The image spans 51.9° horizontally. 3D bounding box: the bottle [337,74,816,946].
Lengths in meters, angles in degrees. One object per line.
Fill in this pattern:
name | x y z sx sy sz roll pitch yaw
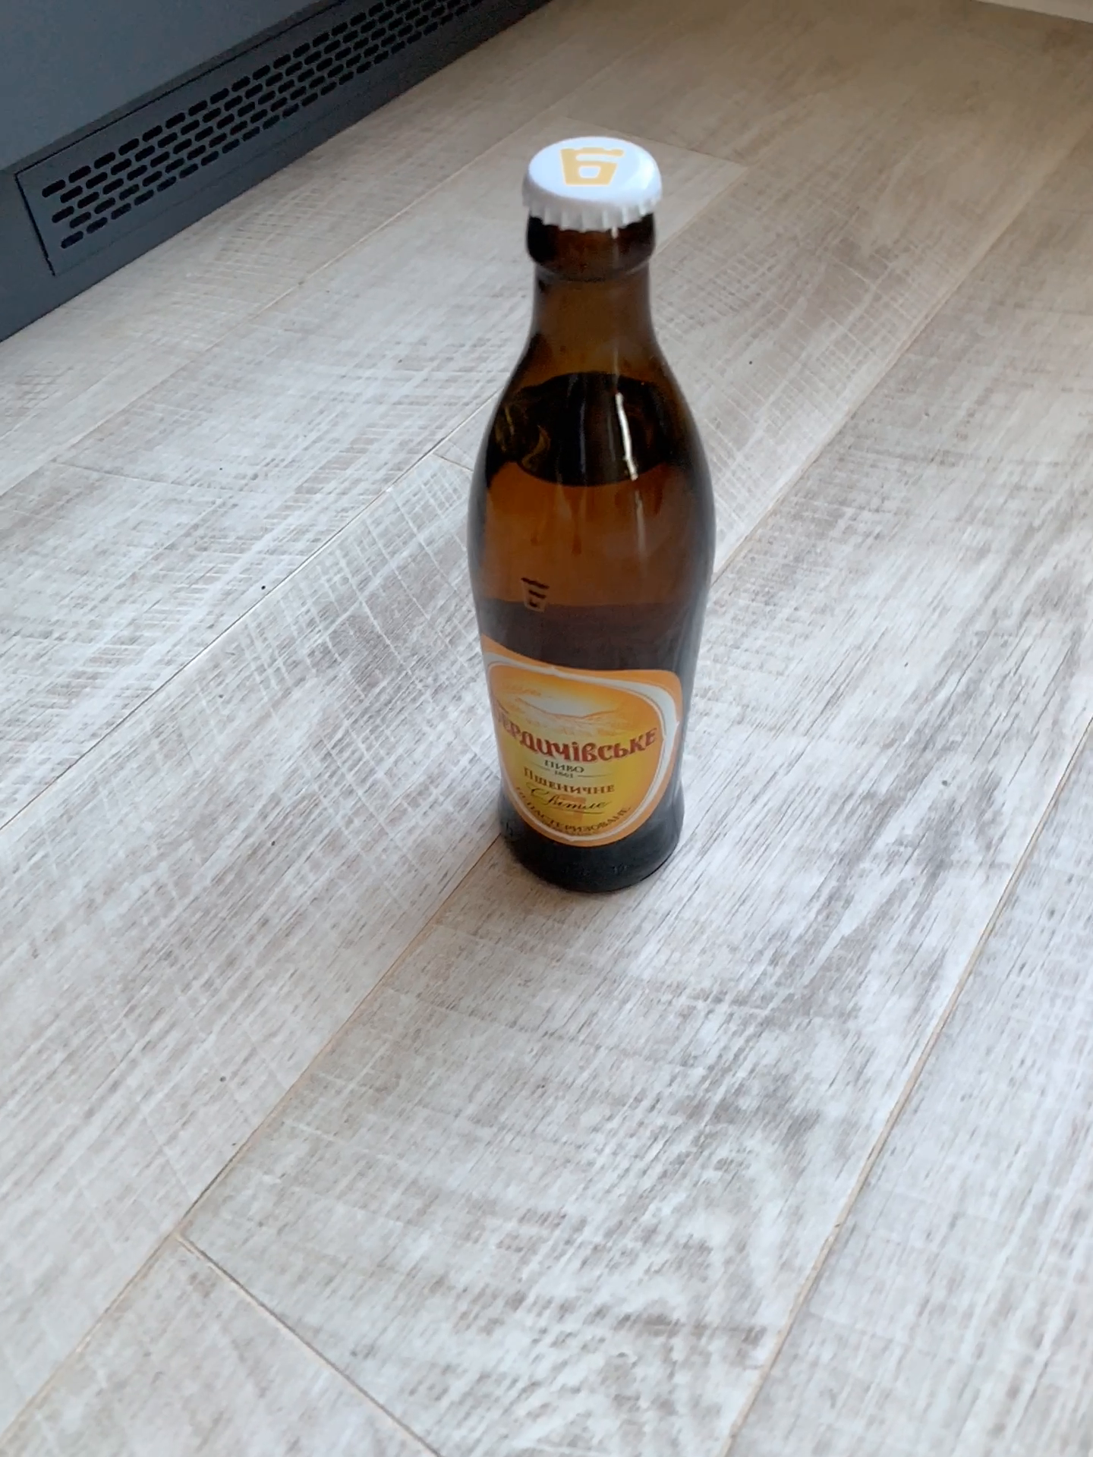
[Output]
bottle | 0.013 -0.035 0.304 0.070 0.229 0.070 -2 52 2
